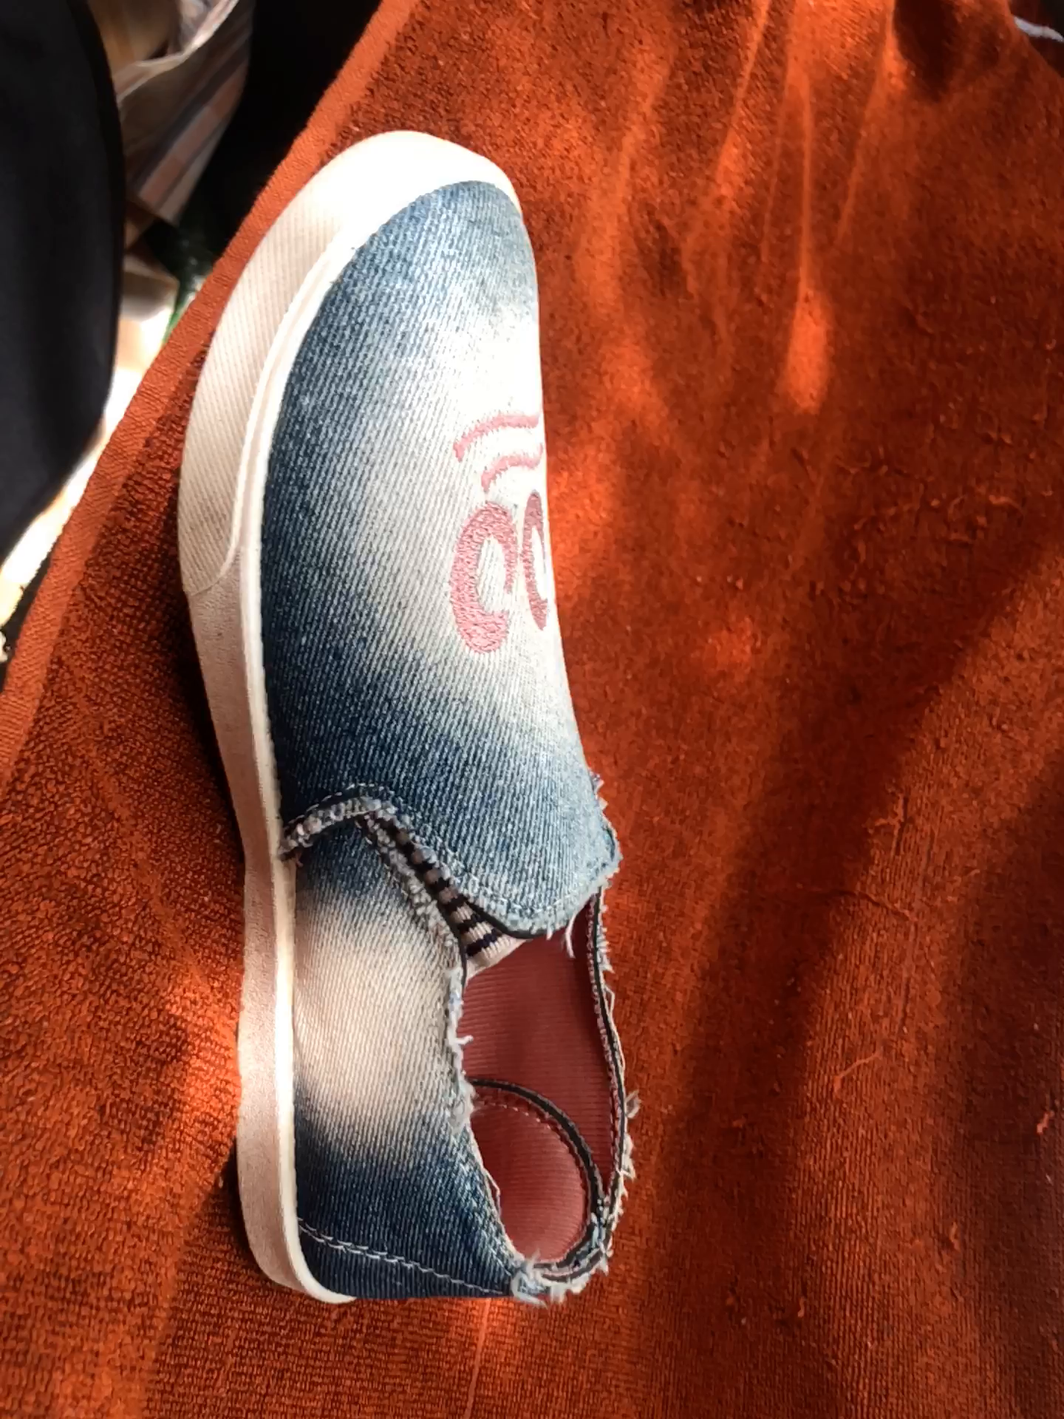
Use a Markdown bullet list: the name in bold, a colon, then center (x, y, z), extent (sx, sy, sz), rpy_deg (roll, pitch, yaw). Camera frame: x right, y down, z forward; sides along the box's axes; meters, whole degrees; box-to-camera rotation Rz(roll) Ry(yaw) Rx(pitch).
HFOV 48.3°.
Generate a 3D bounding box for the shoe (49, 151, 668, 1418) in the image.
- **shoe**: center (-0.029, 0.020, 0.268), extent (0.091, 0.079, 0.240), rpy_deg (-20, 109, -60)
